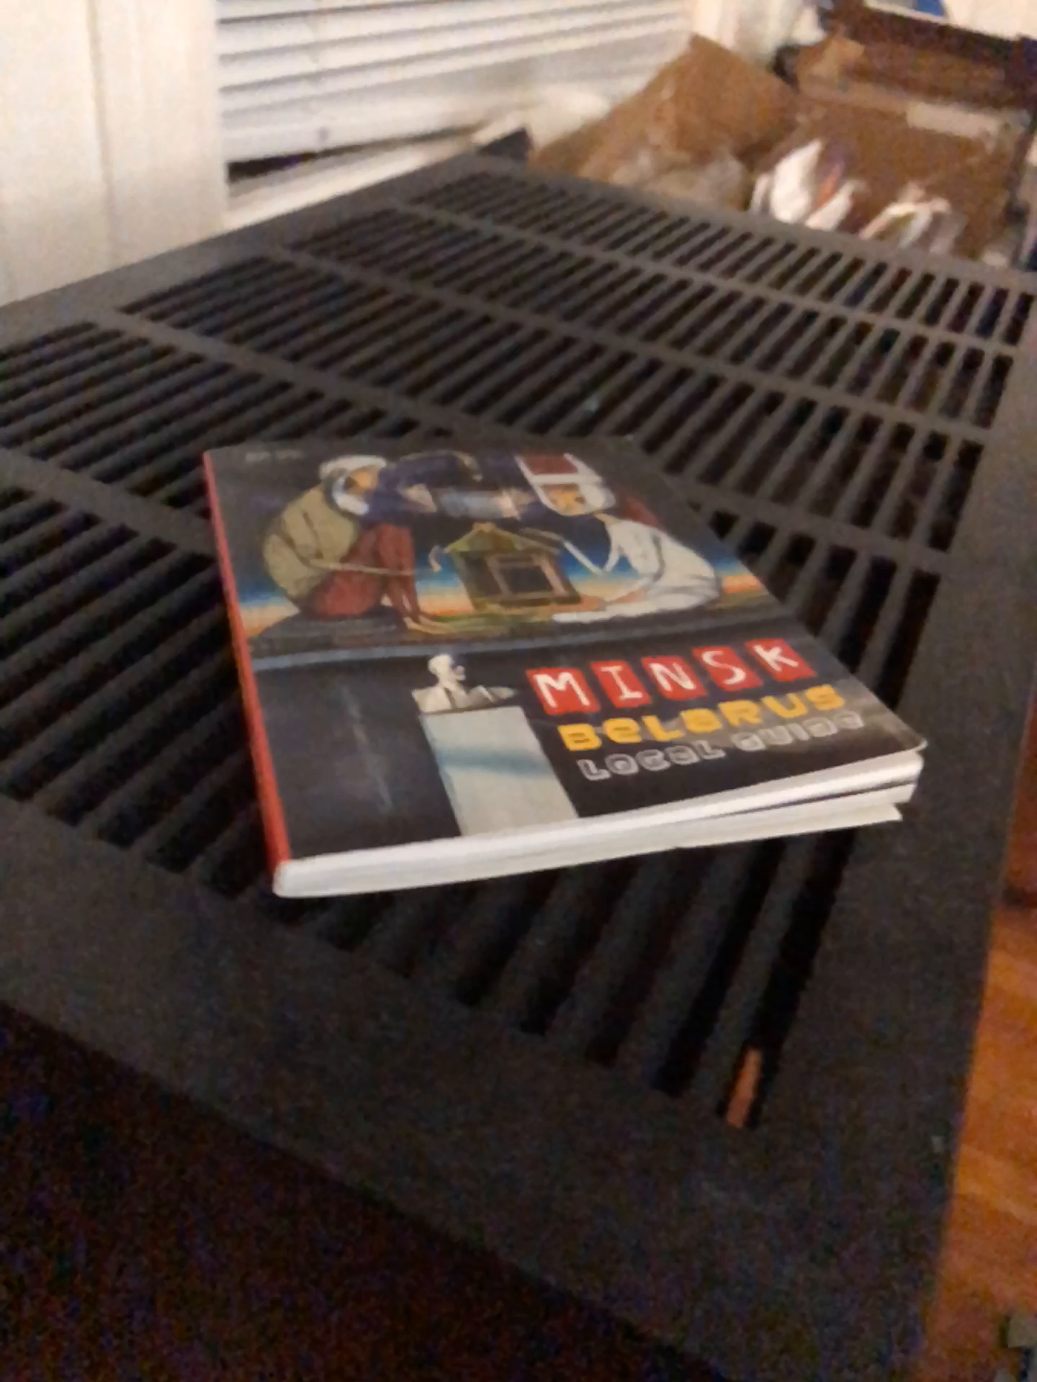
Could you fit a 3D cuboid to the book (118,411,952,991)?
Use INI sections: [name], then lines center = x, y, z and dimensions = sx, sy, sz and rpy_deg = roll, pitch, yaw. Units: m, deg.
[book]
center = -0.017, -0.021, 0.297
dimensions = 0.160, 0.020, 0.201
rpy_deg = -5, 37, -16
